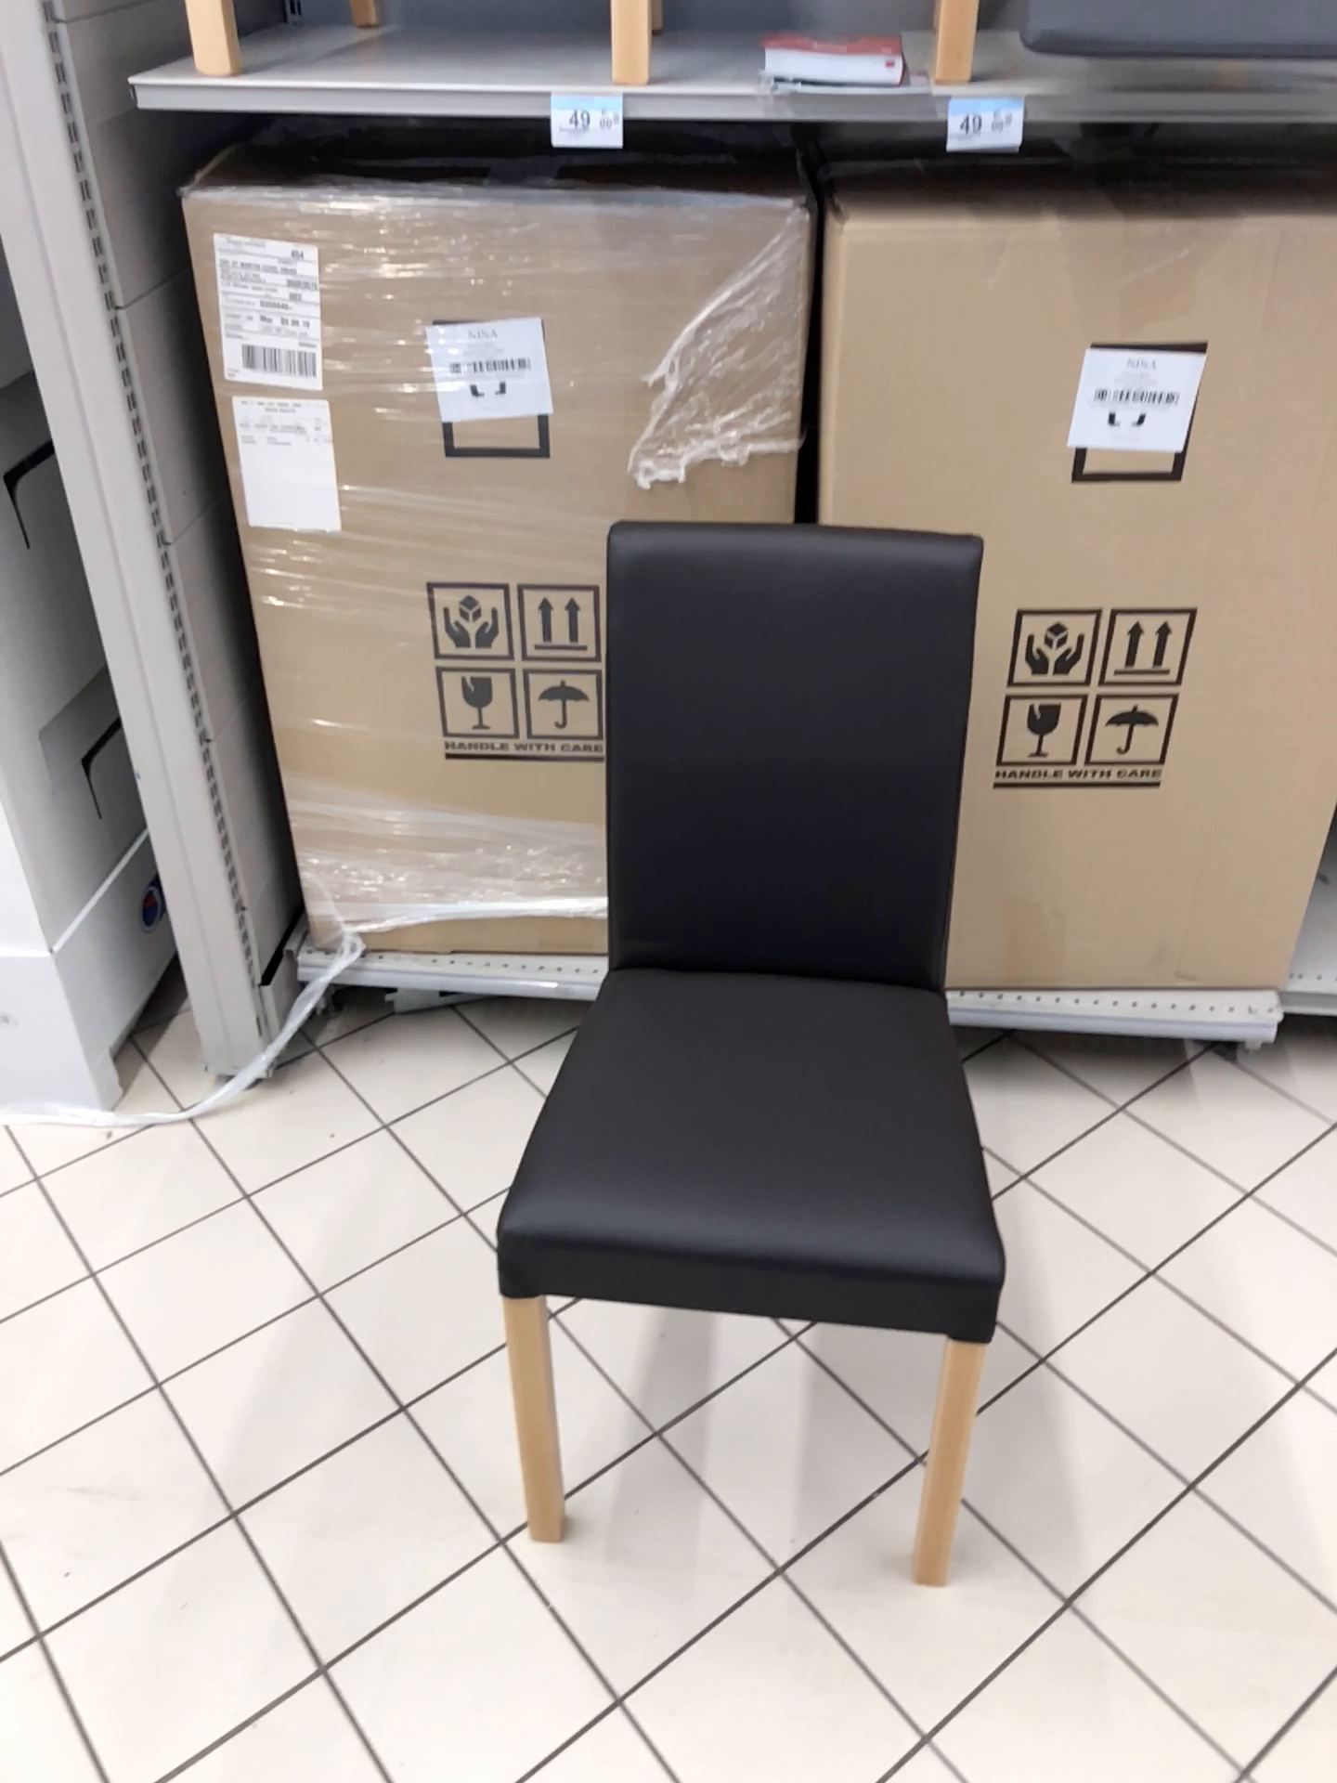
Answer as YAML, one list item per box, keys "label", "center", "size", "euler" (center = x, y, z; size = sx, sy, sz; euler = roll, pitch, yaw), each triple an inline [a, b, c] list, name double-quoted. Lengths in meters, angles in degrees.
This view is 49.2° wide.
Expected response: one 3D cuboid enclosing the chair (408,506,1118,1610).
- label: "chair"
  center: [0.087, 0.156, 1.413]
  size: [0.450, 0.855, 0.594]
  euler: [3, 35, 5]
